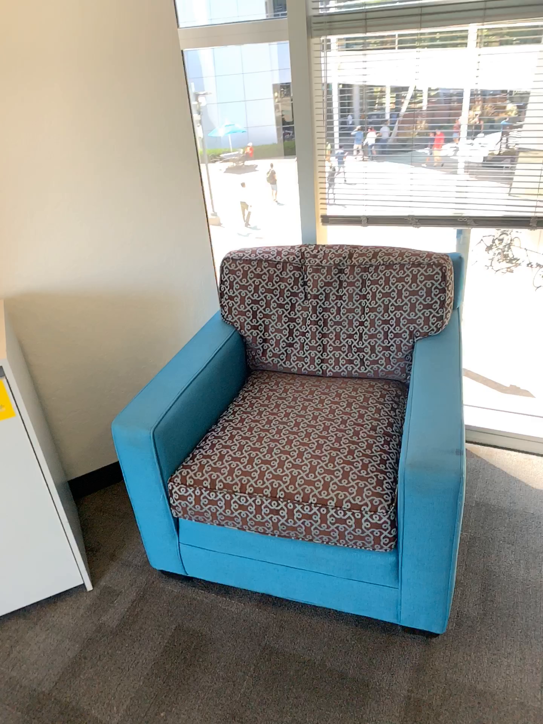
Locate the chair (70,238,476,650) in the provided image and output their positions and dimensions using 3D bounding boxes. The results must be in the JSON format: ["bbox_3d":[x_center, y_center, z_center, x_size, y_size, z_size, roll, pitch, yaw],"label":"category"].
[{"bbox_3d":[0.120,0.150,1.778,0.932,0.805,0.914,5,32,17],"label":"chair"}]
